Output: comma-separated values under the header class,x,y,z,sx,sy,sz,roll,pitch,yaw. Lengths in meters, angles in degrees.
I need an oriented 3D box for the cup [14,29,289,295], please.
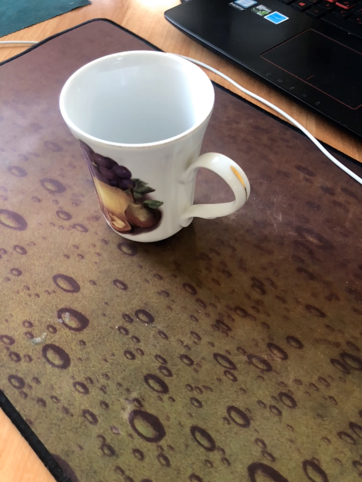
class,x,y,z,sx,sy,sz,roll,pitch,yaw
cup,-0.013,-0.045,0.220,0.100,0.080,0.080,31,59,20
